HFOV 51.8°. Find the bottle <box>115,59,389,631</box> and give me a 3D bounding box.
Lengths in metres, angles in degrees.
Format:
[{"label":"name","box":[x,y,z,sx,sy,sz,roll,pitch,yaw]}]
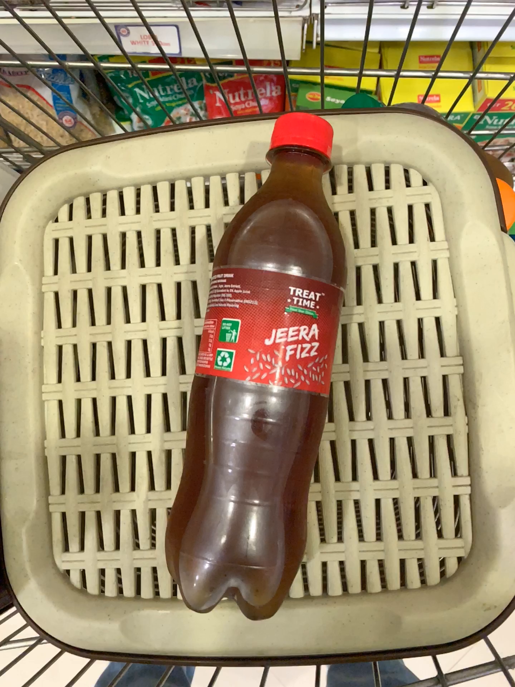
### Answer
[{"label":"bottle","box":[-0.005,0.003,0.256,0.080,0.070,0.230,11,84,-19]}]
